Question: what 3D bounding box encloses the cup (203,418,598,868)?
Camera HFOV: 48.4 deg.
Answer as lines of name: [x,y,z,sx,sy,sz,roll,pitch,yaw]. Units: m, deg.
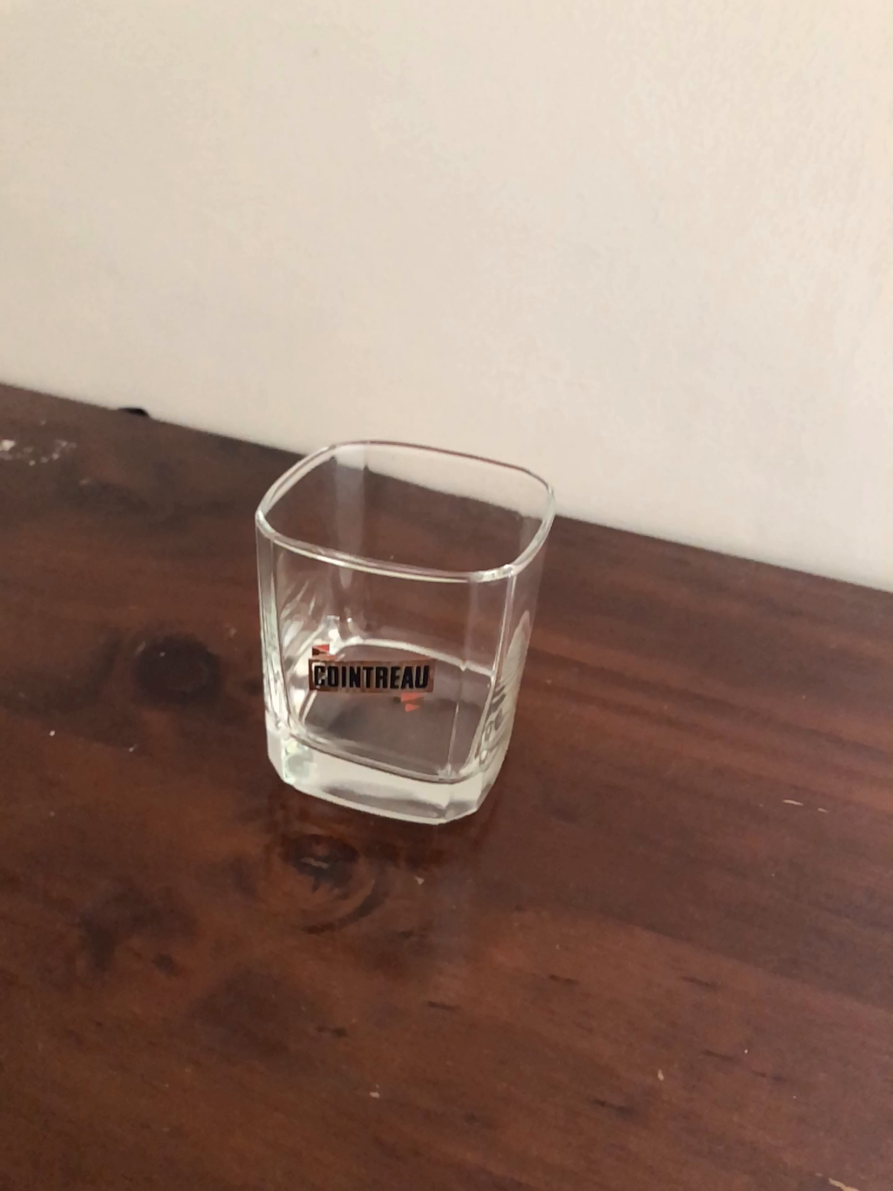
cup: [-0.011,0.009,0.290,0.086,0.085,0.081,4,31,-2]
